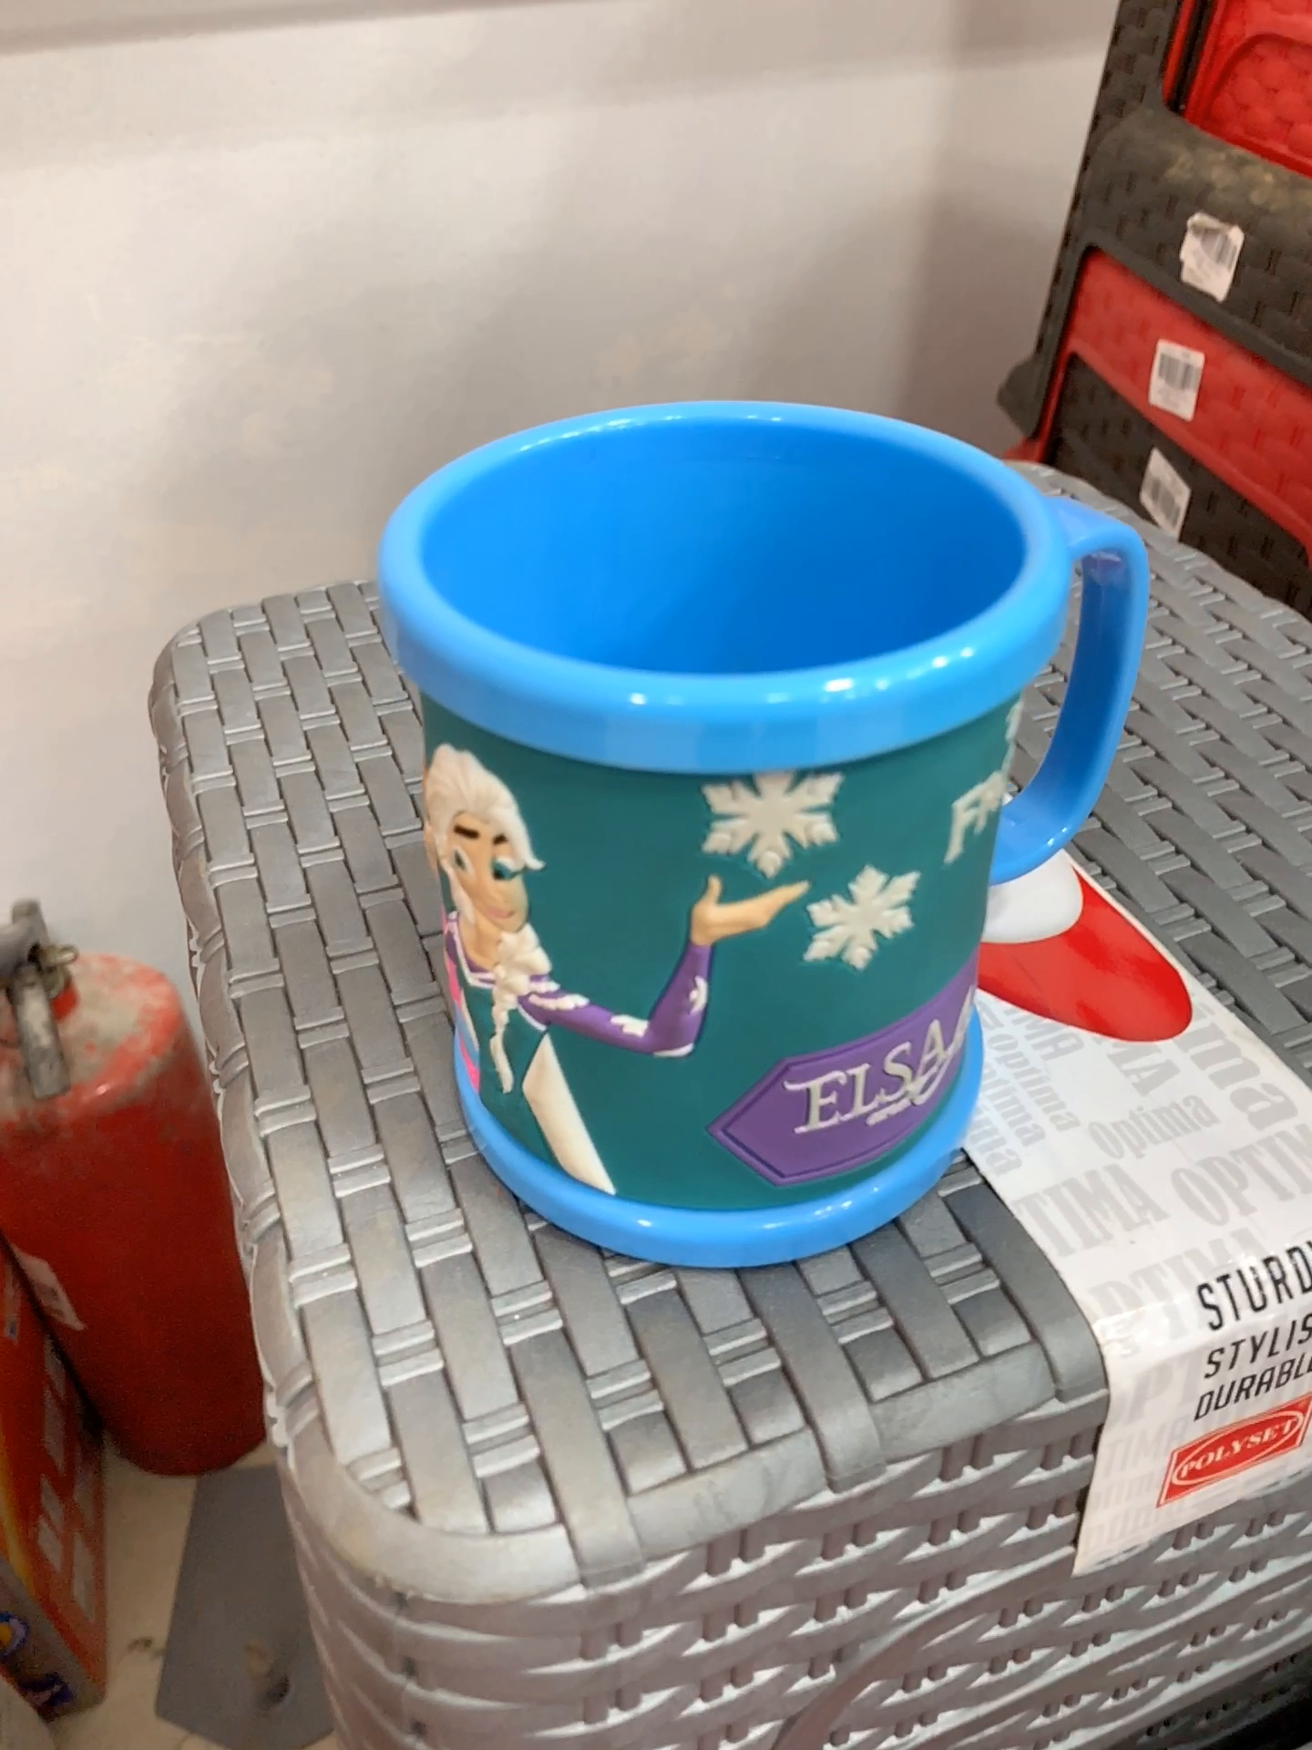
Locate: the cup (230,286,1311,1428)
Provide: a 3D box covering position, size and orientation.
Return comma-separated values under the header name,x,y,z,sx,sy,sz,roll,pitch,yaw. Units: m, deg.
name,x,y,z,sx,sy,sz,roll,pitch,yaw
cup,0.019,-0.011,0.189,0.107,0.098,0.078,-31,47,-31
